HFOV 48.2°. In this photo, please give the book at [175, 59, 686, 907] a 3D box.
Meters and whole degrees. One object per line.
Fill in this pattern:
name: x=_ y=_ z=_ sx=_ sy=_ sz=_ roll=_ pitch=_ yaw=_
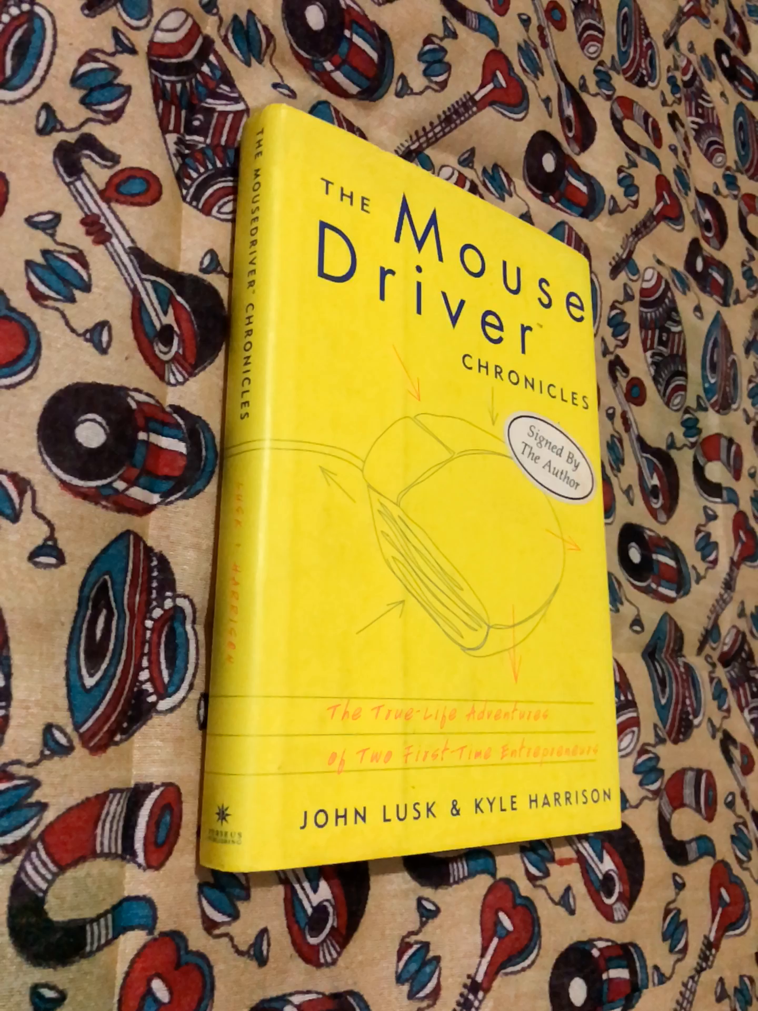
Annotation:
book: x=0.022 y=-0.004 z=0.272 sx=0.161 sy=0.040 sz=0.220 roll=12 pitch=69 yaw=-38
